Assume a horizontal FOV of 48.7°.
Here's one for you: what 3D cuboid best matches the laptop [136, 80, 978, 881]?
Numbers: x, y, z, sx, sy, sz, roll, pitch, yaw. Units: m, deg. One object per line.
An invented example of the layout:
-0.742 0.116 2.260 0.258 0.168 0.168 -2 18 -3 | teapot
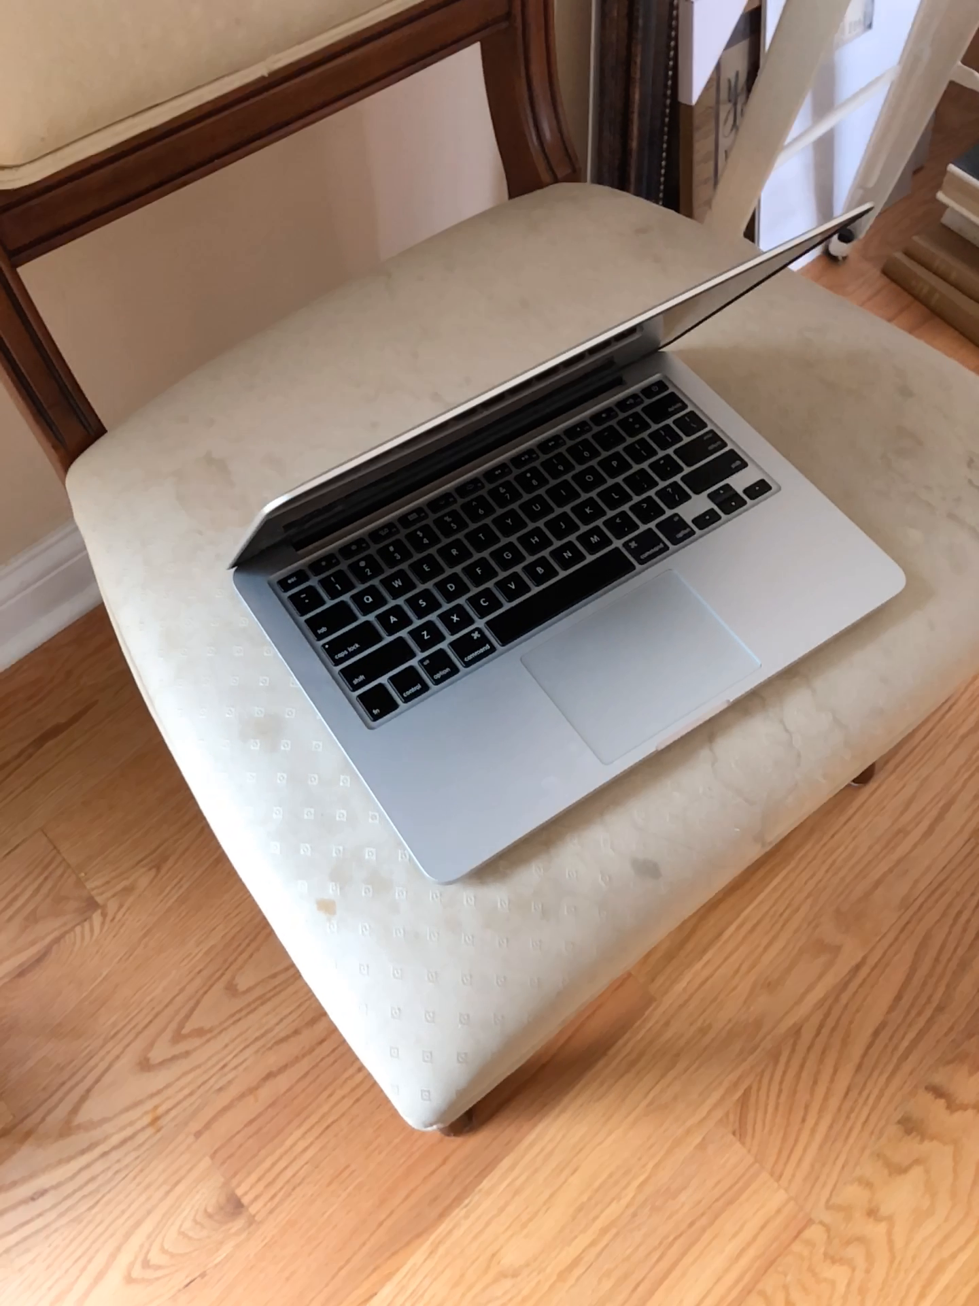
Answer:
0.044 -0.087 0.521 0.309 0.183 0.218 -30 64 -16 | laptop
